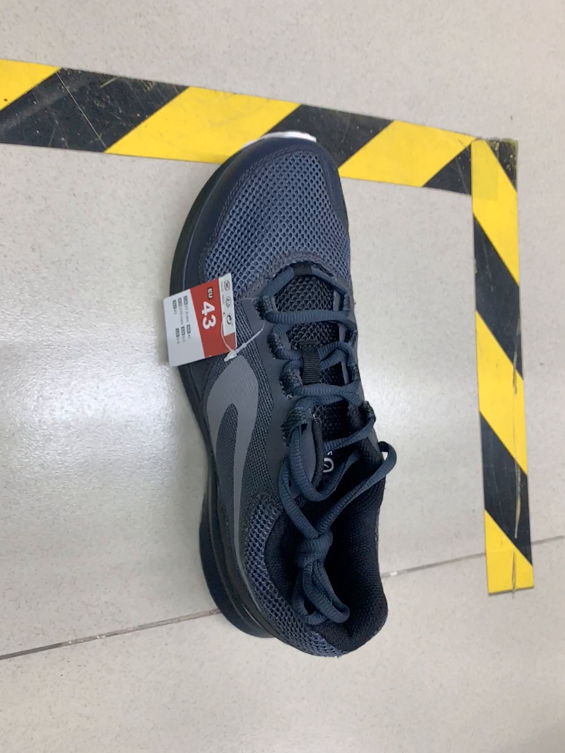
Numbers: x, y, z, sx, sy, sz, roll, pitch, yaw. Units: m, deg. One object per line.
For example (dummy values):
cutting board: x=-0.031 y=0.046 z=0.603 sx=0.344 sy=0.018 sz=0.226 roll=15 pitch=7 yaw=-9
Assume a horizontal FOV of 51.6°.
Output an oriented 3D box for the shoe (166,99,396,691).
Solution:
shoe: x=-0.004 y=0.008 z=0.331 sx=0.110 sy=0.070 sz=0.280 roll=0 pitch=89 yaw=-24
